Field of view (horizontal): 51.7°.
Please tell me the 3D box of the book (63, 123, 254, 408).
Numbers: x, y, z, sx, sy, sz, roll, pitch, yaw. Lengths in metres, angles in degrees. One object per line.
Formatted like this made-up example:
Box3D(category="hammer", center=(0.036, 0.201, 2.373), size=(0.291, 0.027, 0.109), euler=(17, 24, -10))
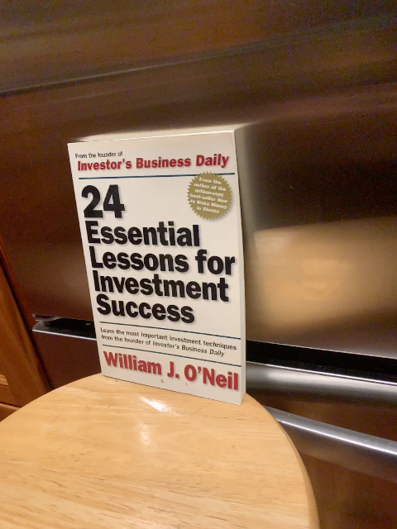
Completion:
Box3D(category="book", center=(-0.032, 0.003, 0.361), size=(0.150, 0.229, 0.030), euler=(4, 18, 26))
